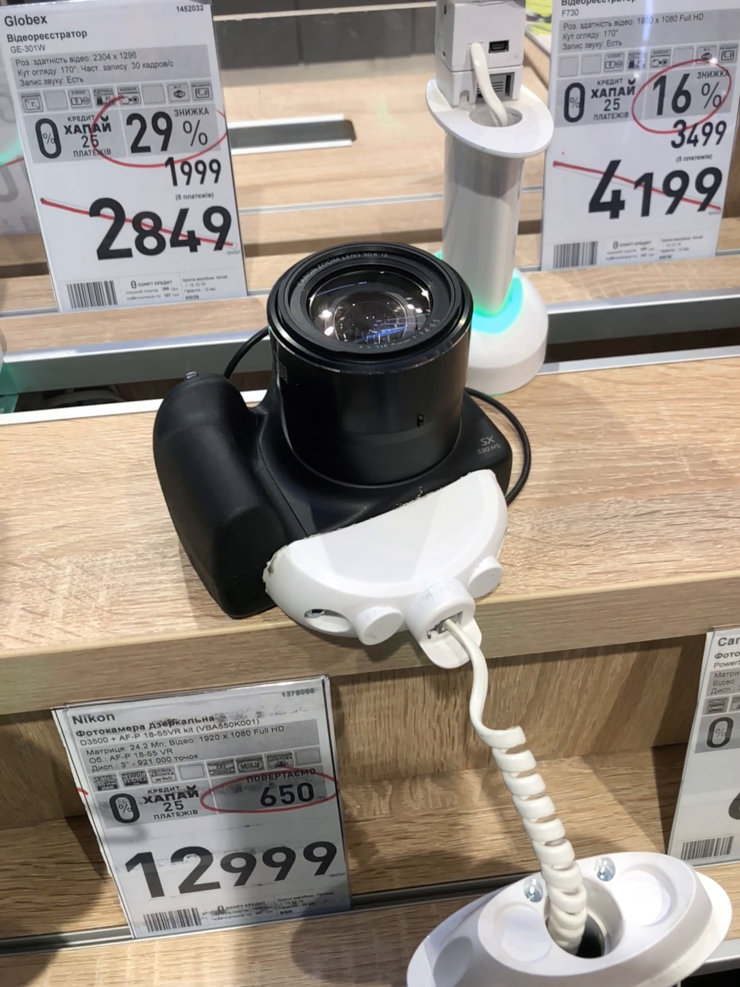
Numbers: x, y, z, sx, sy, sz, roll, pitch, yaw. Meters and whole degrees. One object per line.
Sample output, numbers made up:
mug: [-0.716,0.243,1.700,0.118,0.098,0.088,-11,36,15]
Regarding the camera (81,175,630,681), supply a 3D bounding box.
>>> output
camera: [-0.008,-0.028,0.285,0.134,0.090,0.107,-22,54,-18]
